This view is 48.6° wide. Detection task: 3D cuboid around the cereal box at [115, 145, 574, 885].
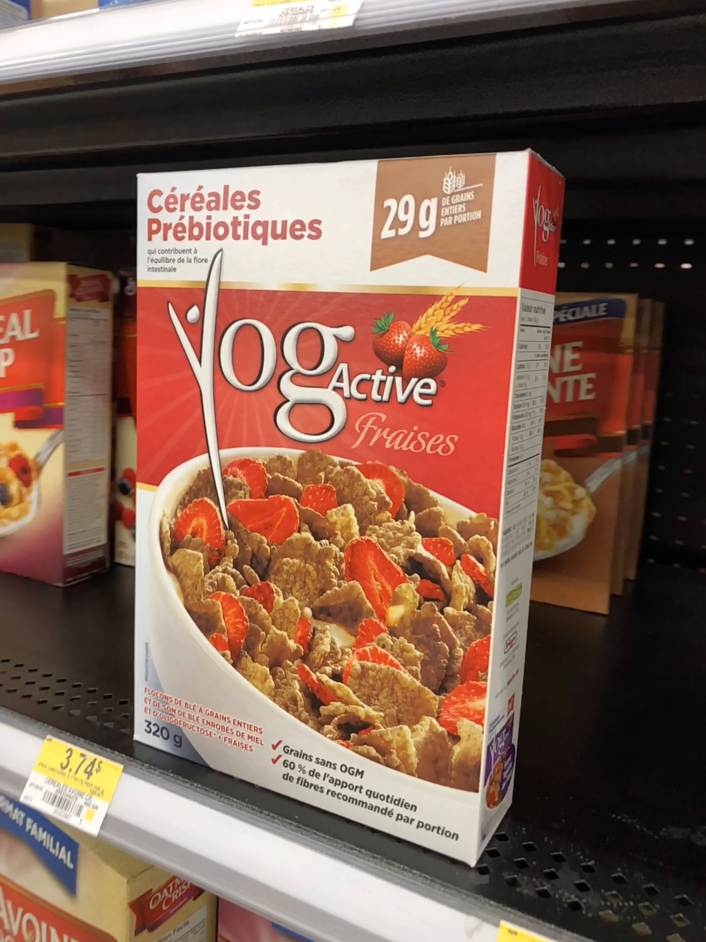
[{"bbox_3d":[-0.018,0.012,0.365,0.200,0.289,0.050,8,11,27],"label":"cereal box"}]
